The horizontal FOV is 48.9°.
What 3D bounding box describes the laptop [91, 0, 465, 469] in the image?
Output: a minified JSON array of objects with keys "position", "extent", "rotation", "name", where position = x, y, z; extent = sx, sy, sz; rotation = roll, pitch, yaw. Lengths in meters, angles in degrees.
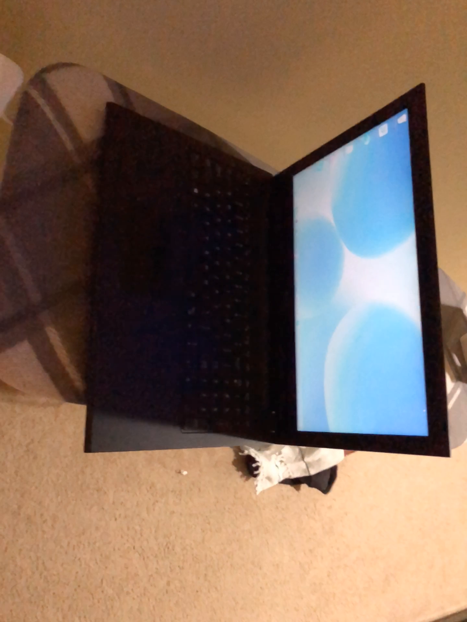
[{"position":[0.039,-0.045,0.502],"extent":[0.248,0.231,0.352],"rotation":[10,75,-40],"name":"laptop"}]
